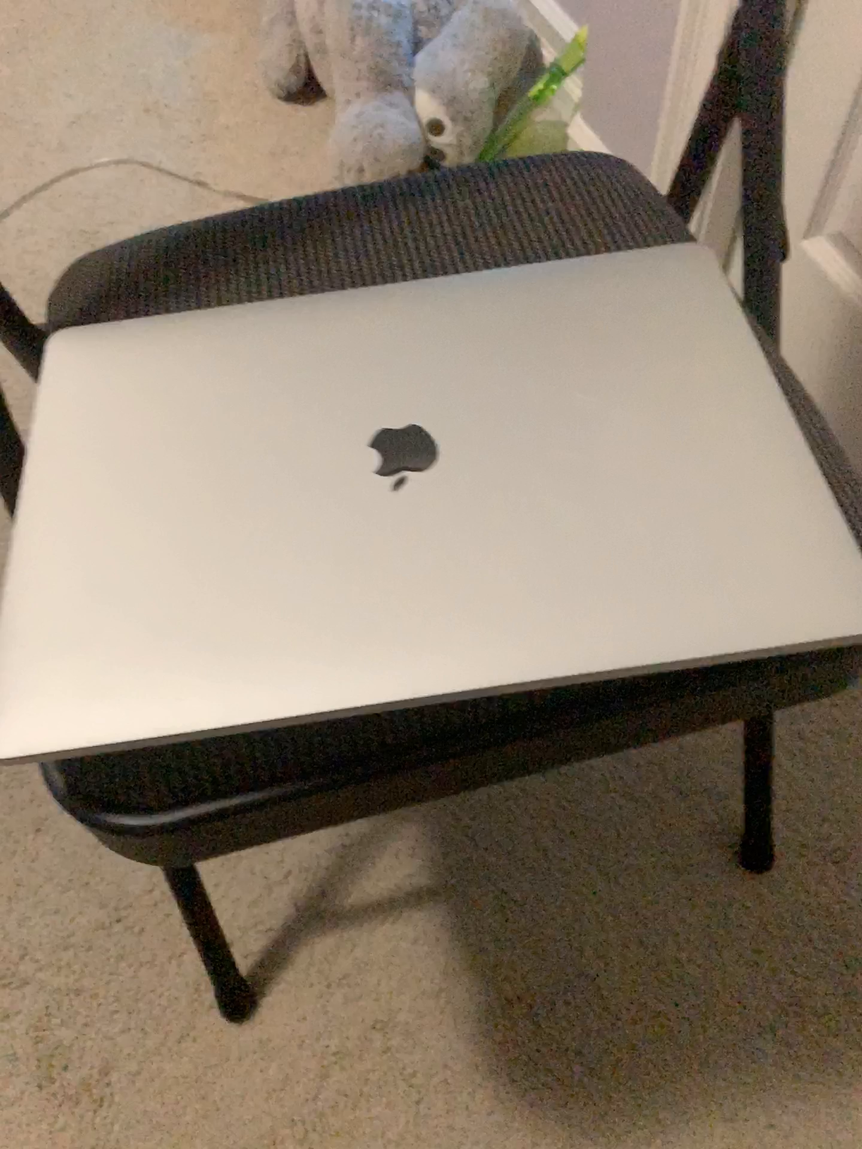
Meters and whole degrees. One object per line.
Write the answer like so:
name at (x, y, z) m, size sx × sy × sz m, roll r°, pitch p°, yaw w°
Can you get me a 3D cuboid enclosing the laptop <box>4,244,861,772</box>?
laptop at (-0.007, -0.047, 0.383) m, size 0.332 × 0.001 × 0.224 m, roll -9°, pitch 59°, yaw -1°
